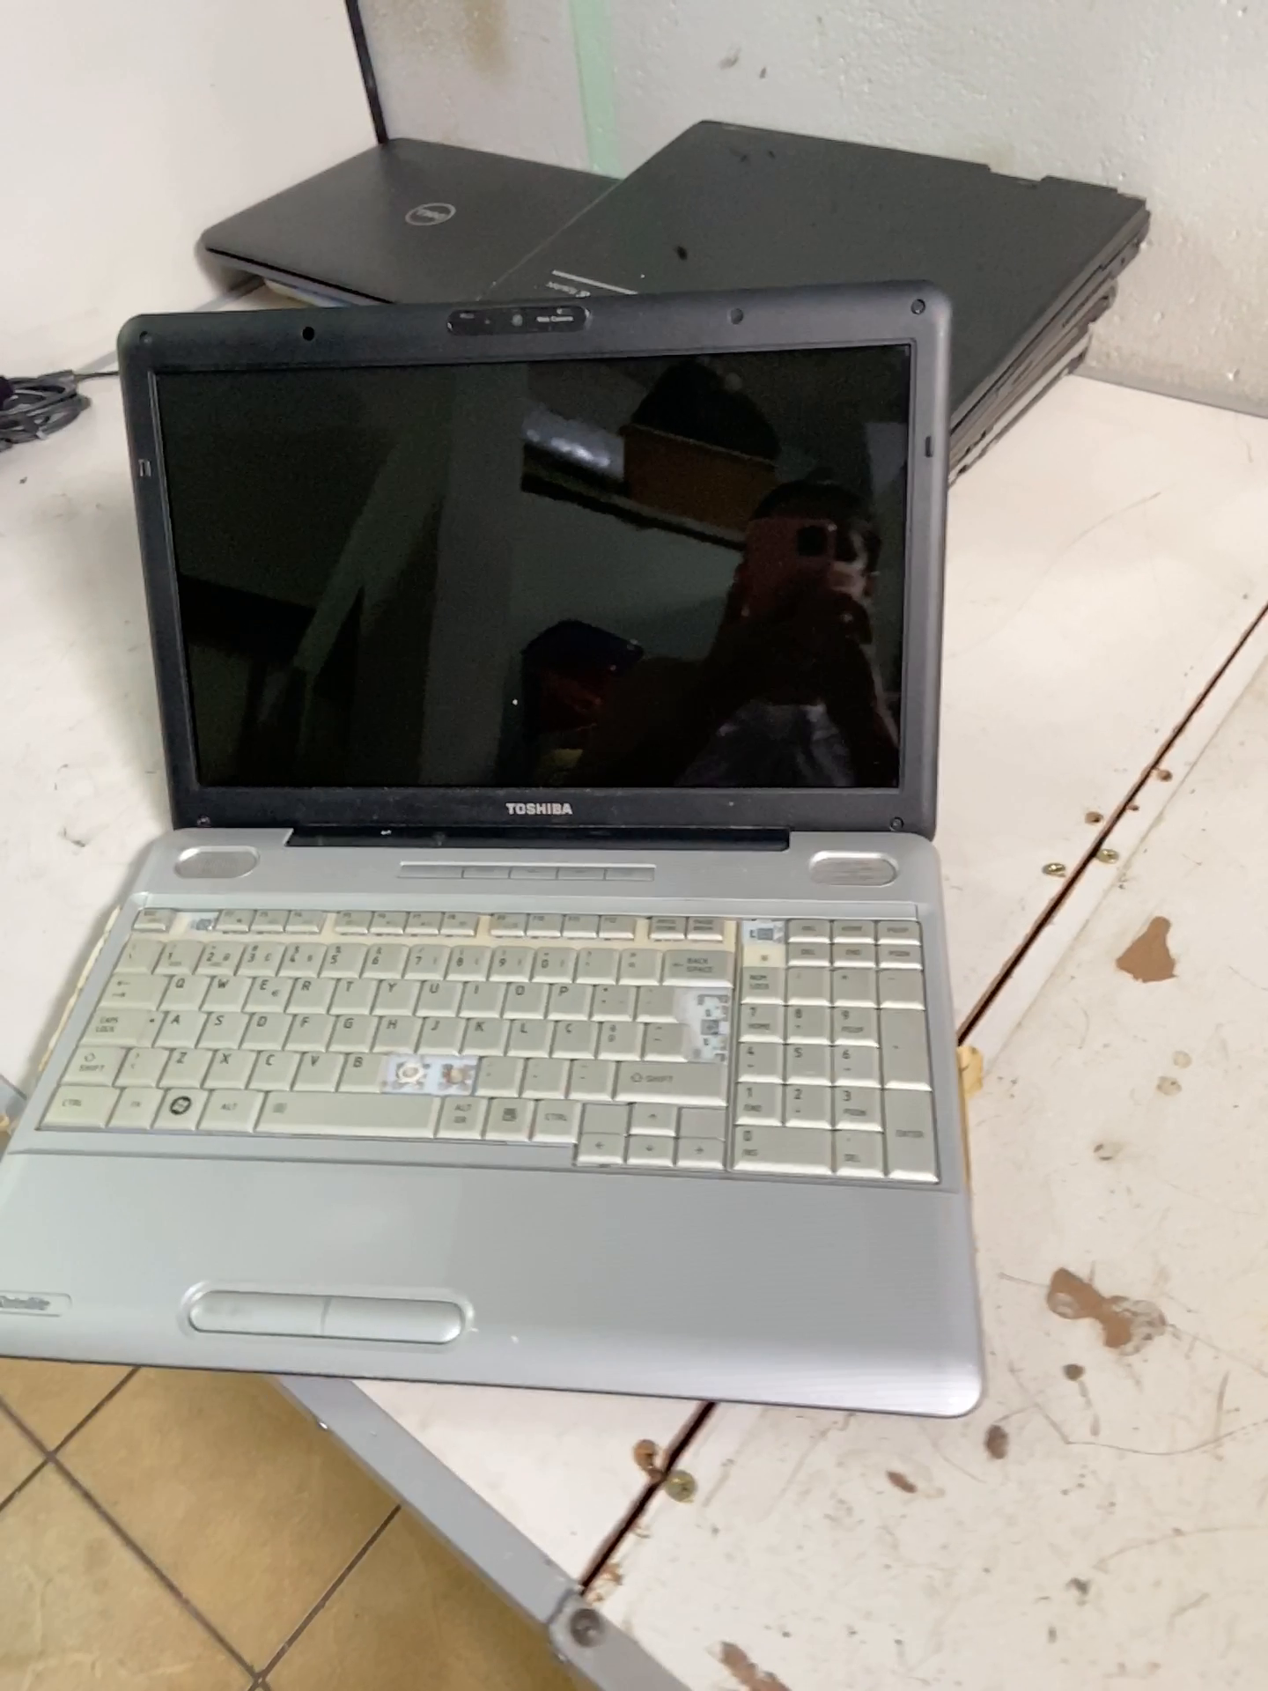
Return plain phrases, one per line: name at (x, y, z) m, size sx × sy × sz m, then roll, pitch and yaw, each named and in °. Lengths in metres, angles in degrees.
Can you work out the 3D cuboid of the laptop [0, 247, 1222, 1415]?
laptop at (-0.031, -0.033, 0.498) m, size 0.370 × 0.191 × 0.401 m, roll 0°, pitch 47°, yaw 8°
